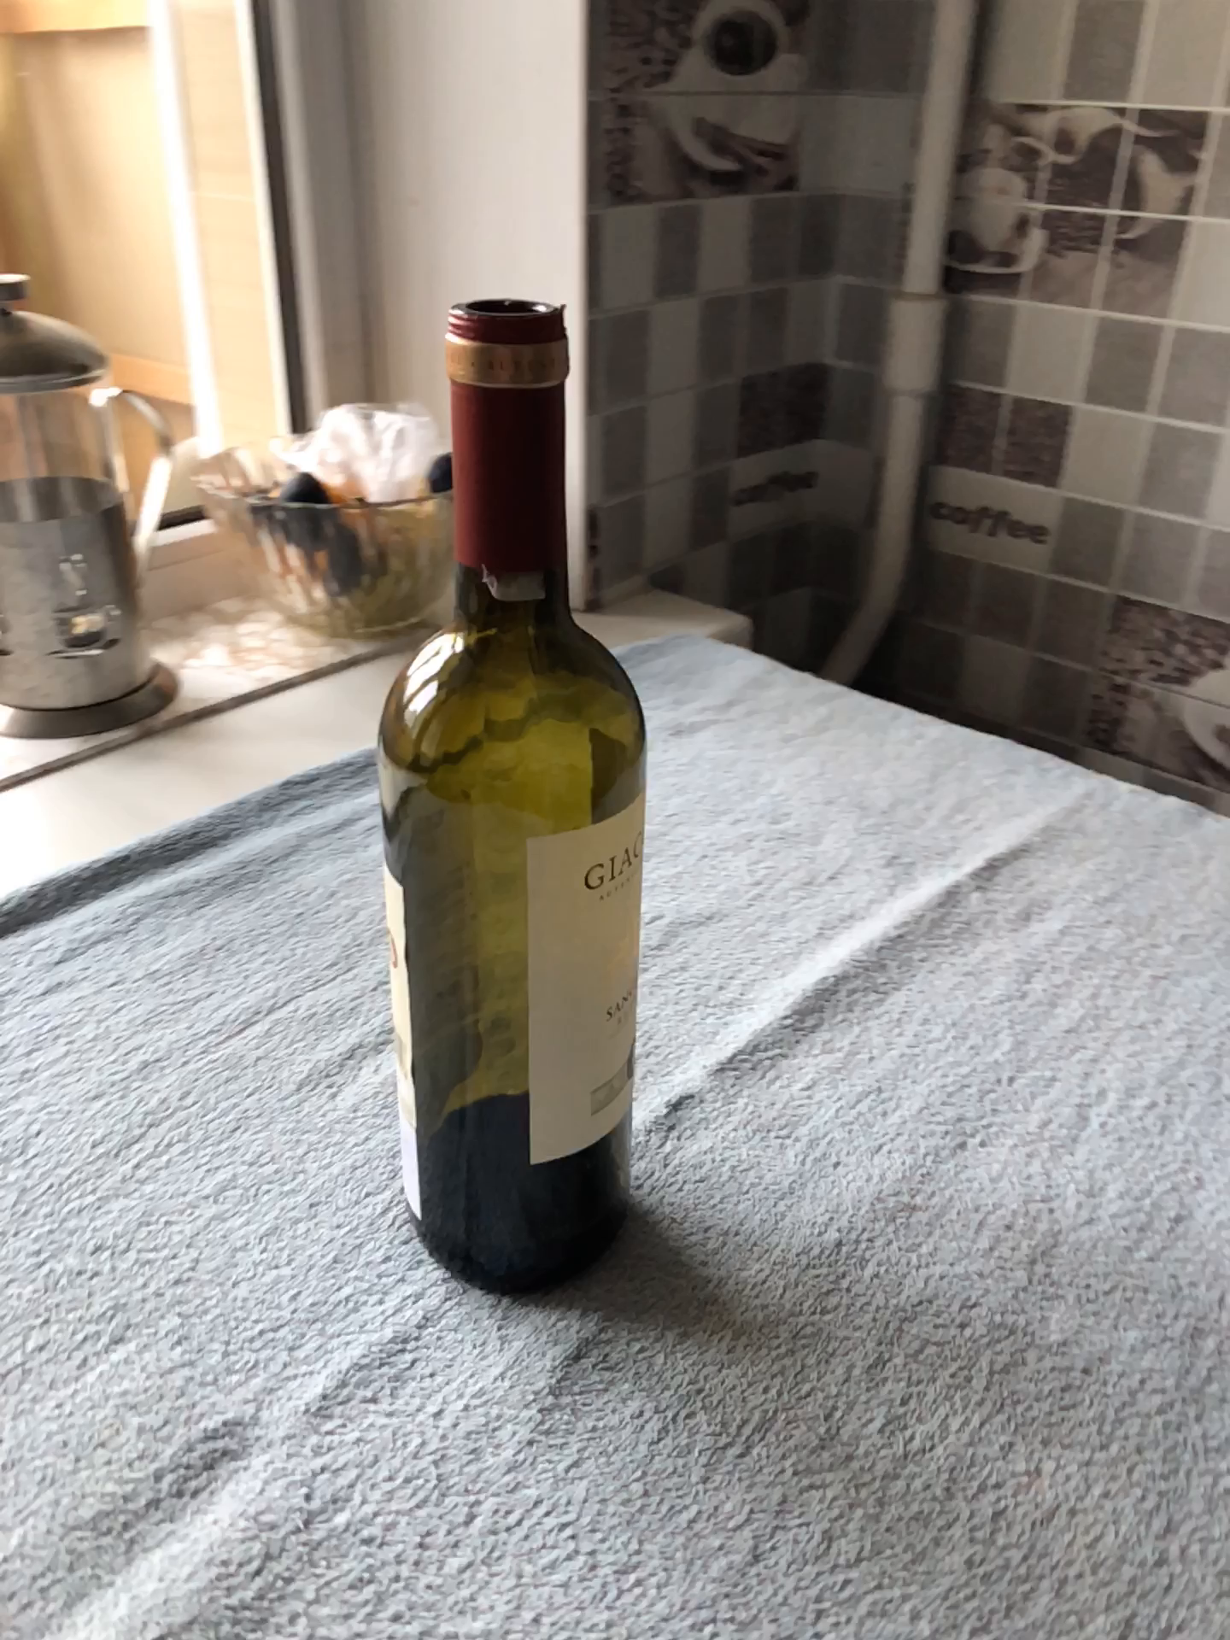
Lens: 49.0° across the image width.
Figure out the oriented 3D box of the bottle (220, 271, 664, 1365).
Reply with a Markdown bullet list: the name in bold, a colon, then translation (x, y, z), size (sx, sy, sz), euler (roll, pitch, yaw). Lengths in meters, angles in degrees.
- **bottle**: translation (-0.038, 0.011, 0.383), size (0.080, 0.299, 0.081), euler (1, 29, -1)
